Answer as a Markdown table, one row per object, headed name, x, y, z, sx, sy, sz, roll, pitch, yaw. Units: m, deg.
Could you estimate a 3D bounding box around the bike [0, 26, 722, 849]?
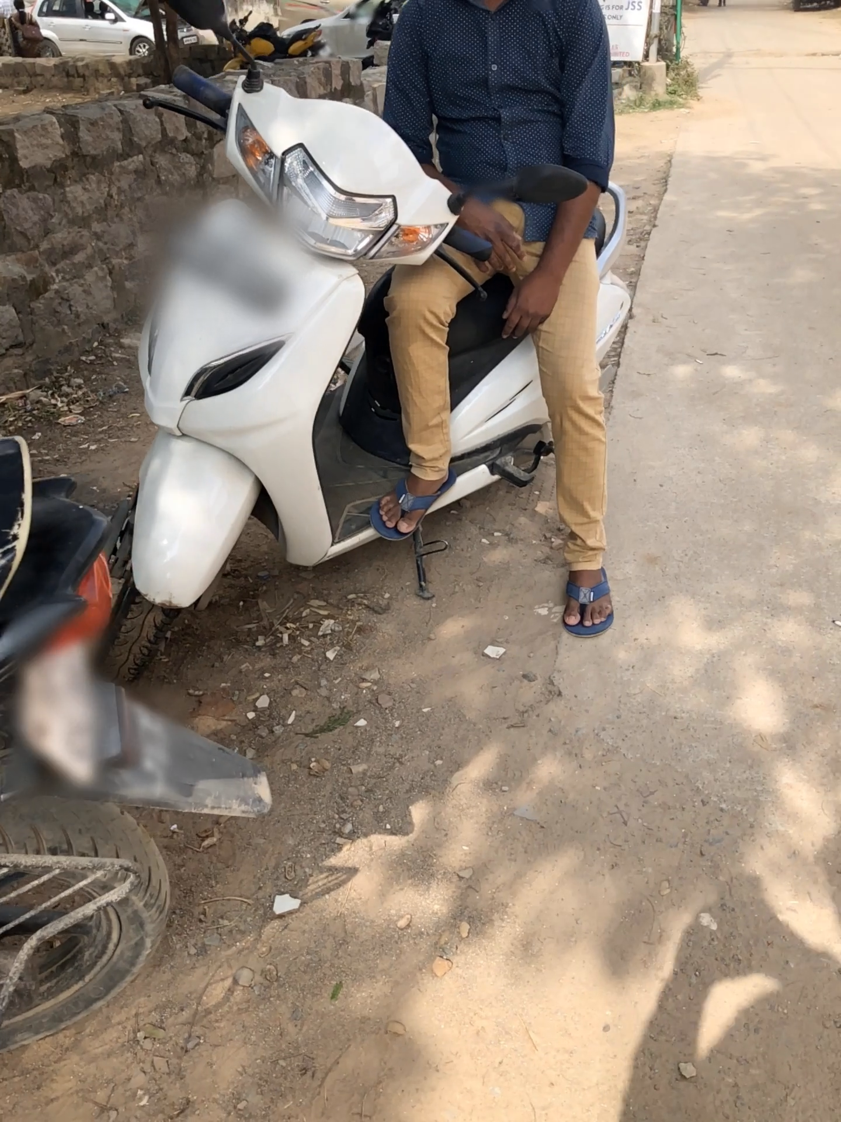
| name | x | y | z | sx | sy | sz | roll | pitch | yaw |
| --- | --- | --- | --- | --- | --- | --- | --- | --- | --- |
| bike | -0.010 | -0.439 | 1.982 | 0.621 | 1.200 | 1.598 | 19 | 37 | 30 |
